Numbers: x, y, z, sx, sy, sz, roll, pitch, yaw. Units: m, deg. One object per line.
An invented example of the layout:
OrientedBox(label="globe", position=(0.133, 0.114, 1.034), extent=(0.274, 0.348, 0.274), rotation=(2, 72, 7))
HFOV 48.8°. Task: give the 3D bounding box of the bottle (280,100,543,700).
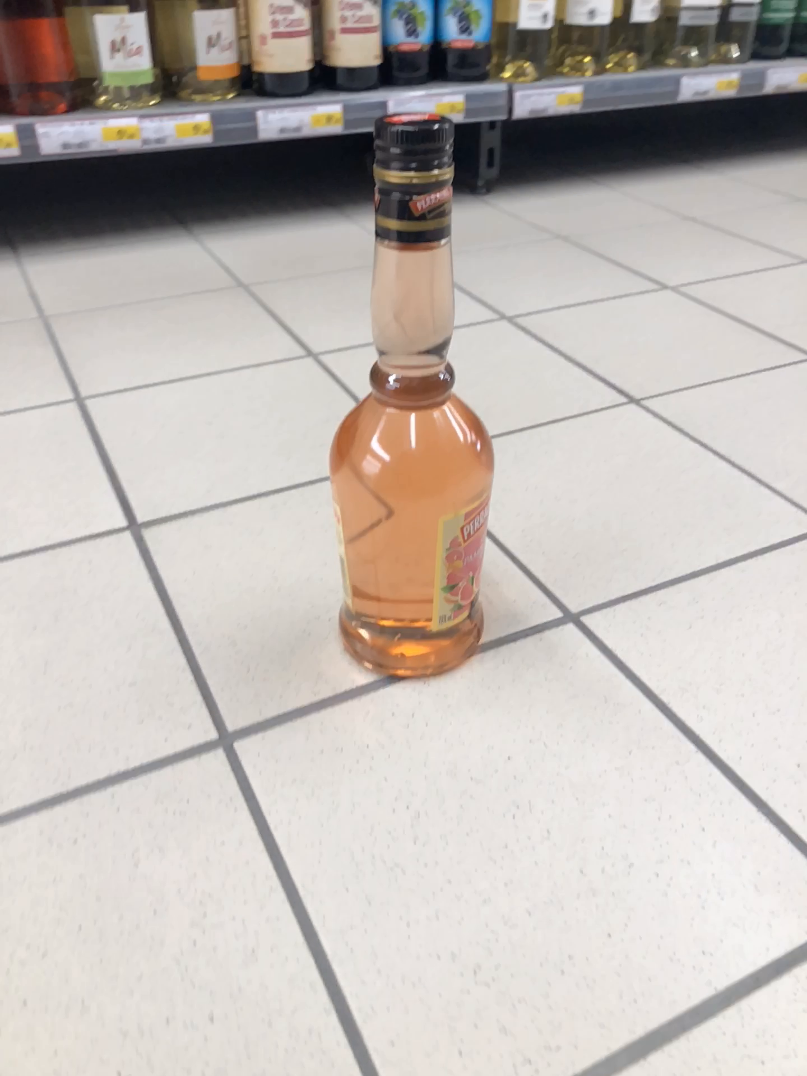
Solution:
OrientedBox(label="bottle", position=(0.007, -0.053, 0.392), extent=(0.080, 0.239, 0.091), rotation=(7, 34, 10))
